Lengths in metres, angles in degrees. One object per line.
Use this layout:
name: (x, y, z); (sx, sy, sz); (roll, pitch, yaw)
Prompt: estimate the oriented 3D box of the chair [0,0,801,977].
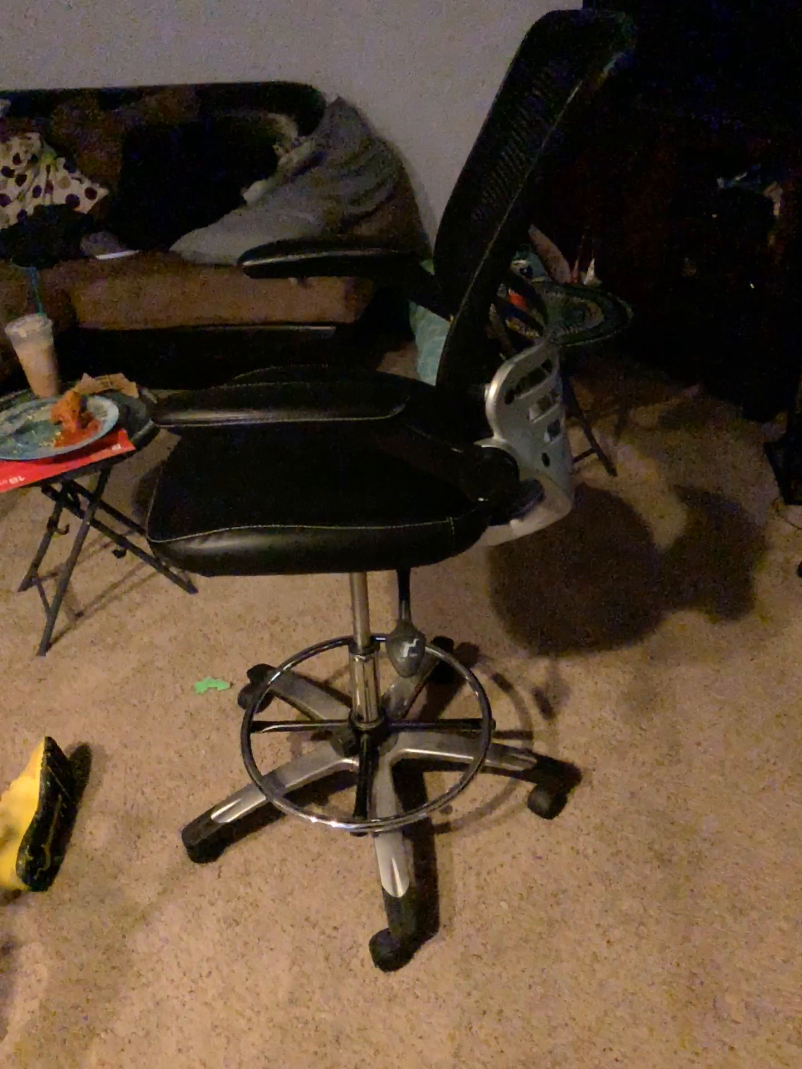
chair: (-0.049, -0.066, 1.235); (0.700, 1.120, 0.780); (-2, 35, 2)
